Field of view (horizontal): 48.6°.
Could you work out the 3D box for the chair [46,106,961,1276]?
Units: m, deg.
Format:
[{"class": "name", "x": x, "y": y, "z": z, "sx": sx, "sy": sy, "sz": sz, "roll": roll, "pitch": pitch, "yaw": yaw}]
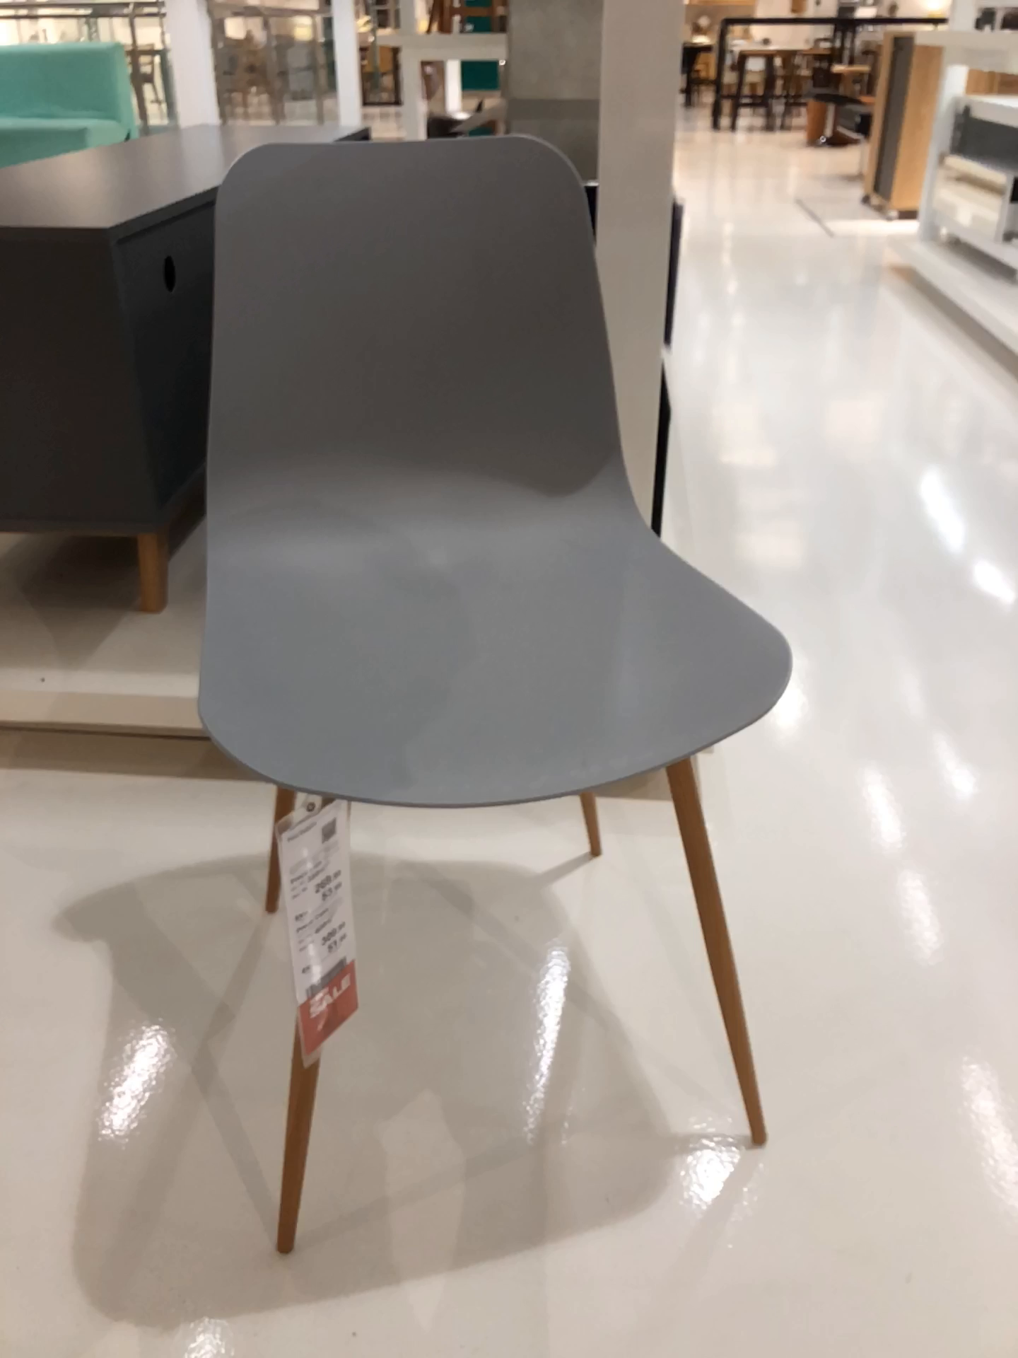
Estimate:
[{"class": "chair", "x": -0.036, "y": -0.018, "z": 0.960, "sx": 0.470, "sy": 0.814, "sz": 0.473, "roll": -7, "pitch": 29, "yaw": -12}]
